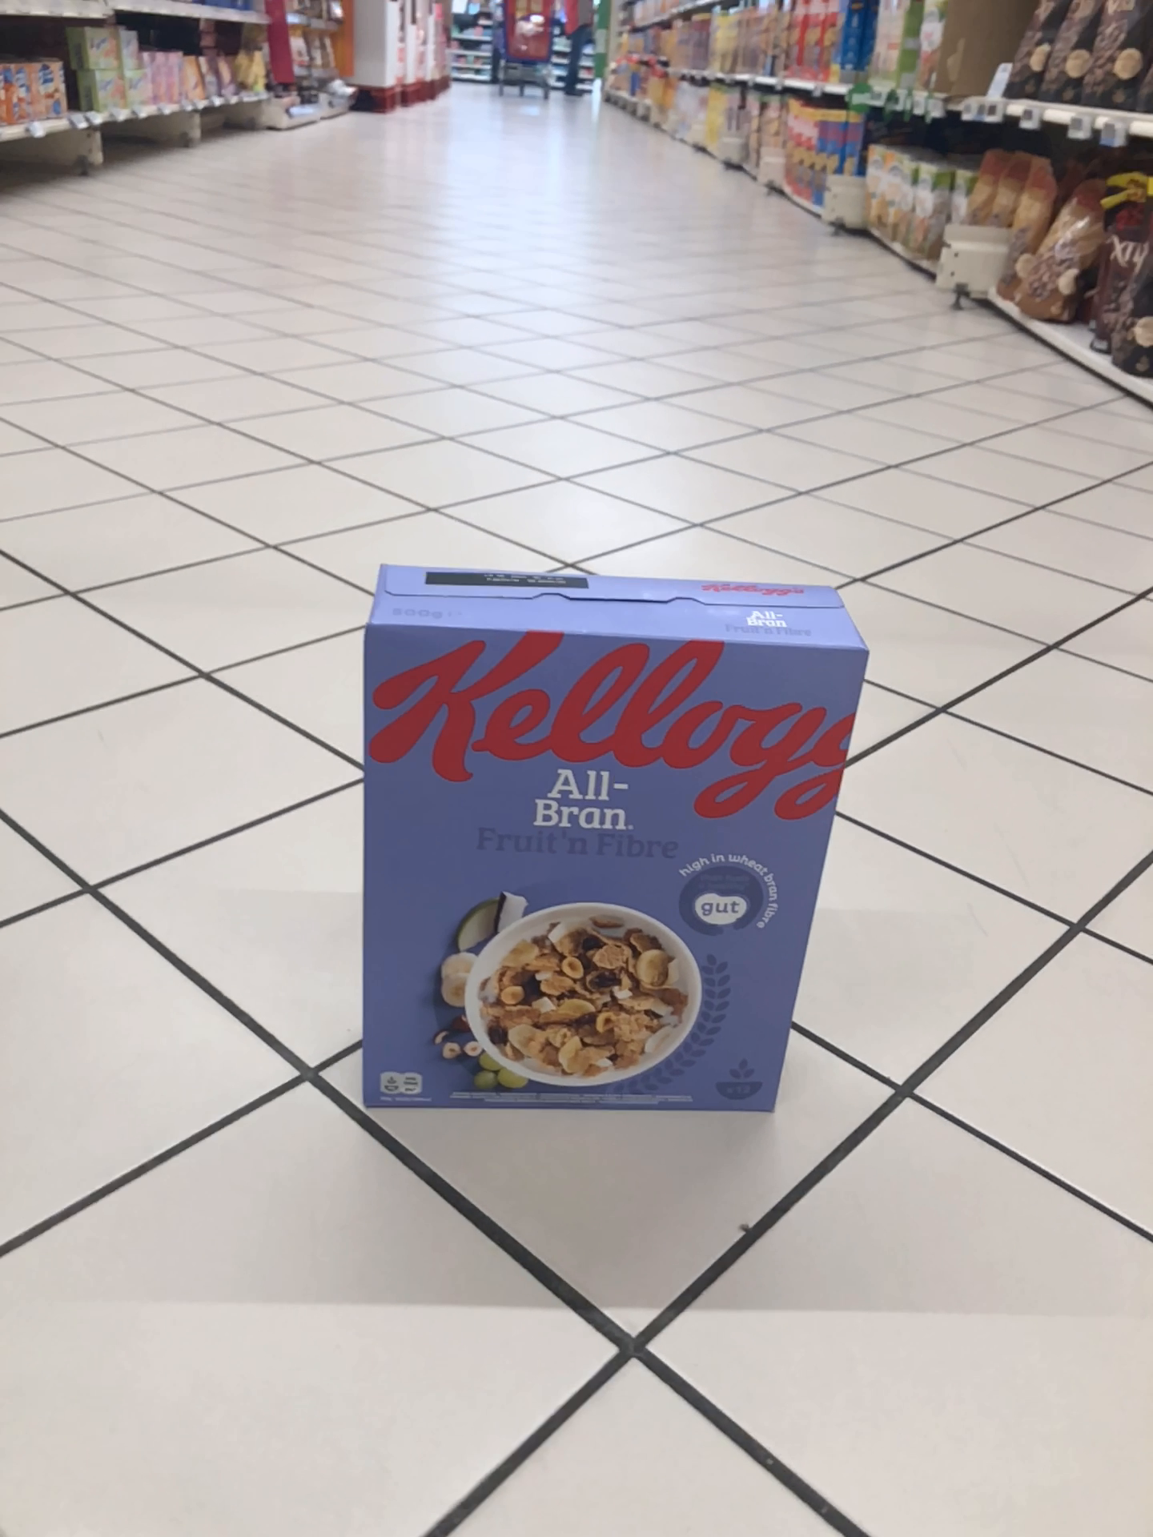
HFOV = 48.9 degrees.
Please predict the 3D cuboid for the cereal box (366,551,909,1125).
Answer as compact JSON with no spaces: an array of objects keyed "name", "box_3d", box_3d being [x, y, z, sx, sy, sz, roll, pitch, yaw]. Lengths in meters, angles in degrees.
[{"name":"cereal box","box_3d":[0.013,0.038,0.551,0.200,0.239,0.070,3,28,-5]}]
